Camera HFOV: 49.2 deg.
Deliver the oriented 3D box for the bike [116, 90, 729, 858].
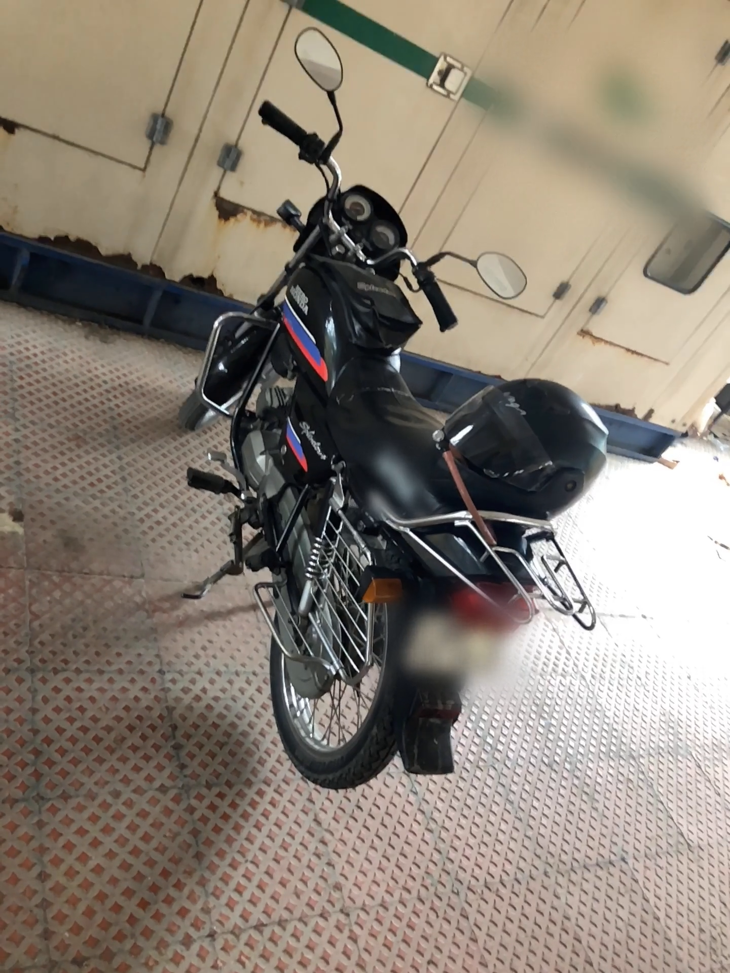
[{"bbox_3d":[-0.110,-0.169,2.125,0.736,1.087,1.866,16,31,-27],"label":"bike"}]
